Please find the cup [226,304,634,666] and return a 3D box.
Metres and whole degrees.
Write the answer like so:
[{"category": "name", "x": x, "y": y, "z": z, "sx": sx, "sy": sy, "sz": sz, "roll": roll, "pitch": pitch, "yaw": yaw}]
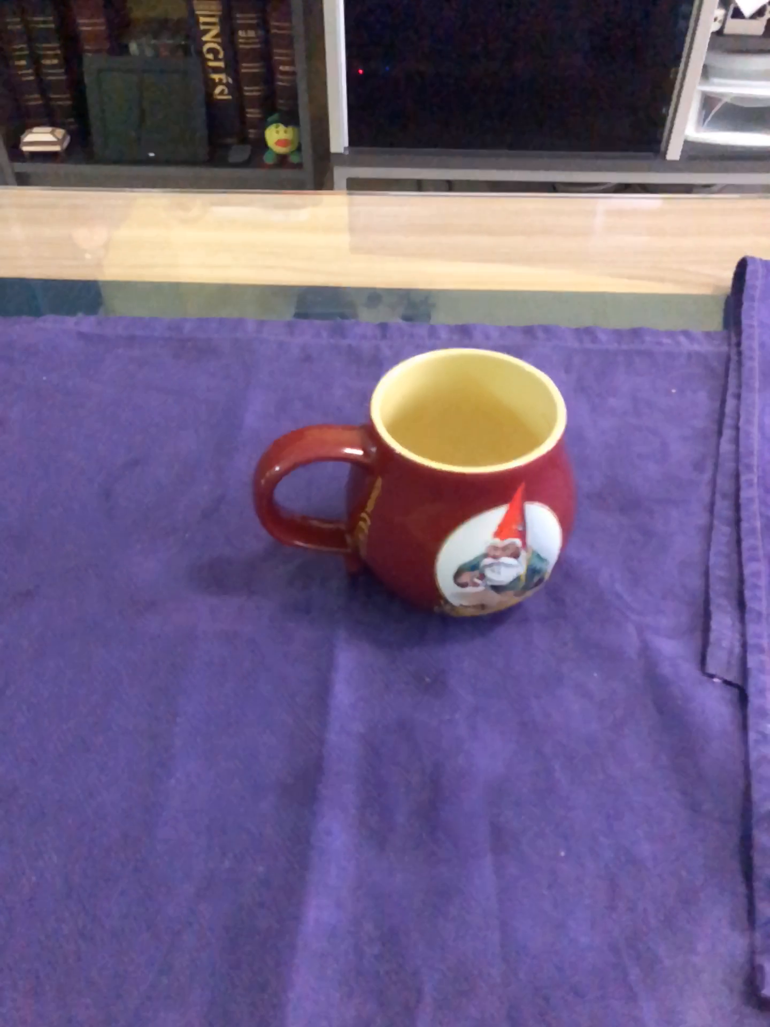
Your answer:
[{"category": "cup", "x": 0.010, "y": -0.010, "z": 0.306, "sx": 0.120, "sy": 0.090, "sz": 0.080, "roll": -5, "pitch": 46, "yaw": -4}]
